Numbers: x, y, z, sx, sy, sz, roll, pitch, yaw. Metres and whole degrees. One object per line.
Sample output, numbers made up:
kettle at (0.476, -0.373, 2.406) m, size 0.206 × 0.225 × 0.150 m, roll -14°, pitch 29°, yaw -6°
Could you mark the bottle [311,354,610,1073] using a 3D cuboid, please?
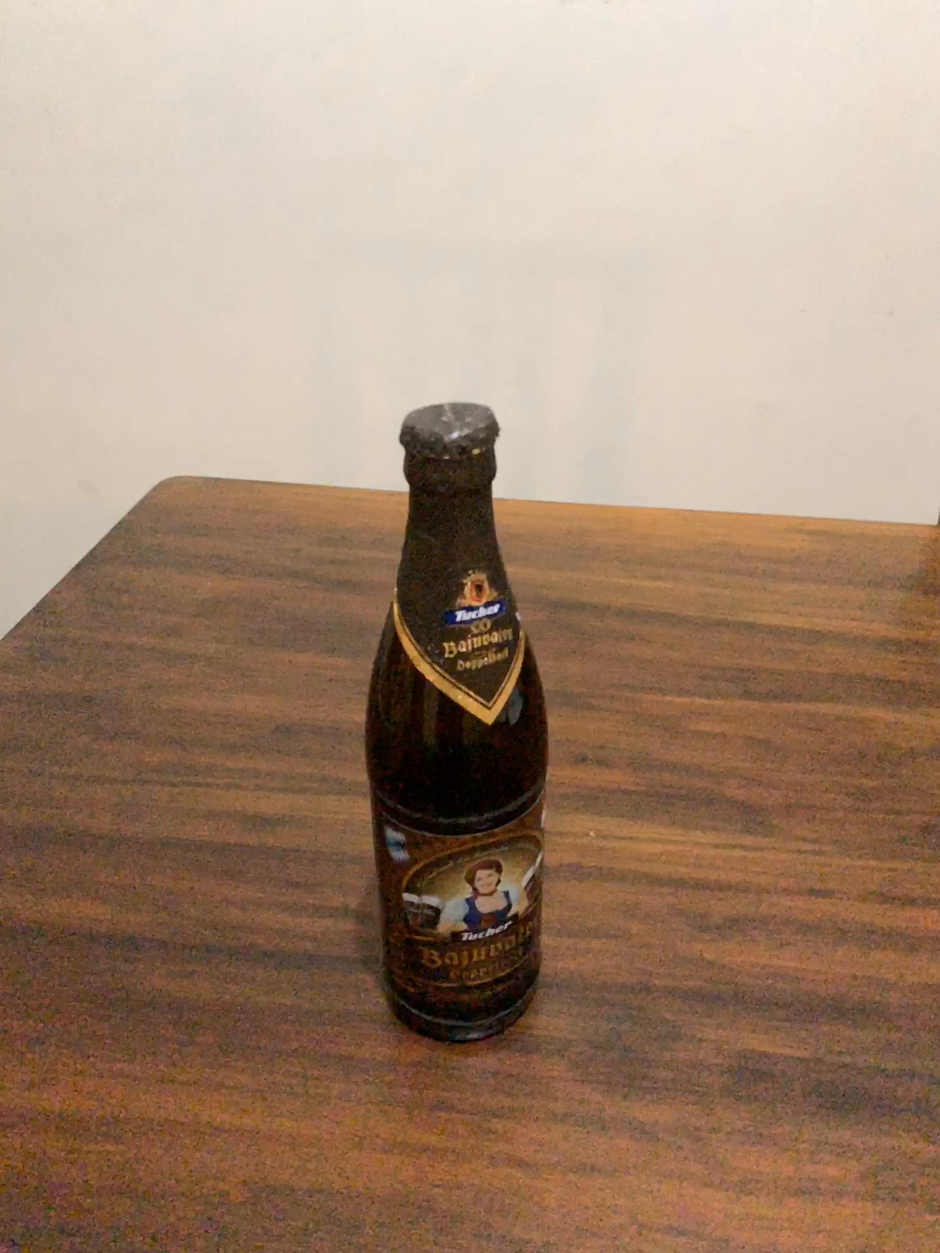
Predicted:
bottle at (-0.002, 0.046, 0.355) m, size 0.070 × 0.268 × 0.060 m, roll -14°, pitch 35°, yaw -18°
